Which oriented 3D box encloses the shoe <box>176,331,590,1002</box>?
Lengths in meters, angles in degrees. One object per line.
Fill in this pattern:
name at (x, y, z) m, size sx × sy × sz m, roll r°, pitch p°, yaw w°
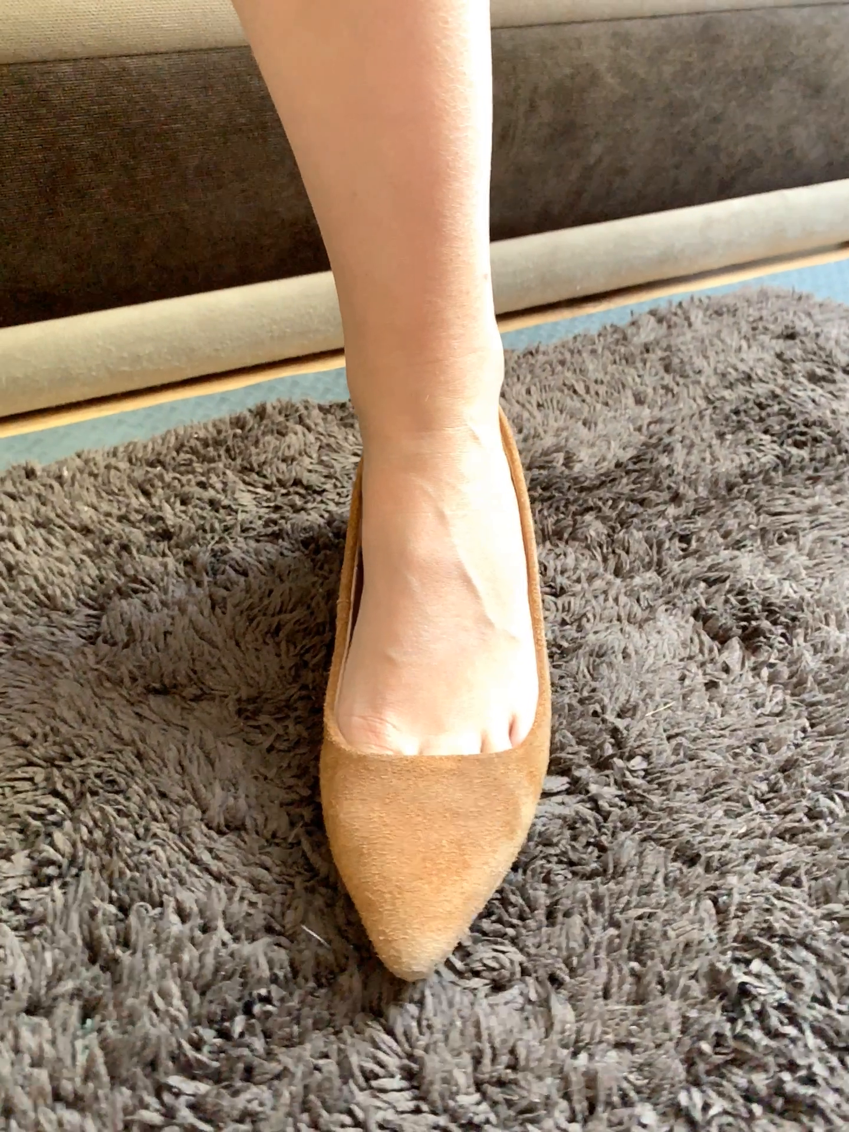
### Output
shoe at (-0.008, 0.008, 0.313) m, size 0.090 × 0.080 × 0.251 m, roll 1°, pitch 39°, yaw 0°
